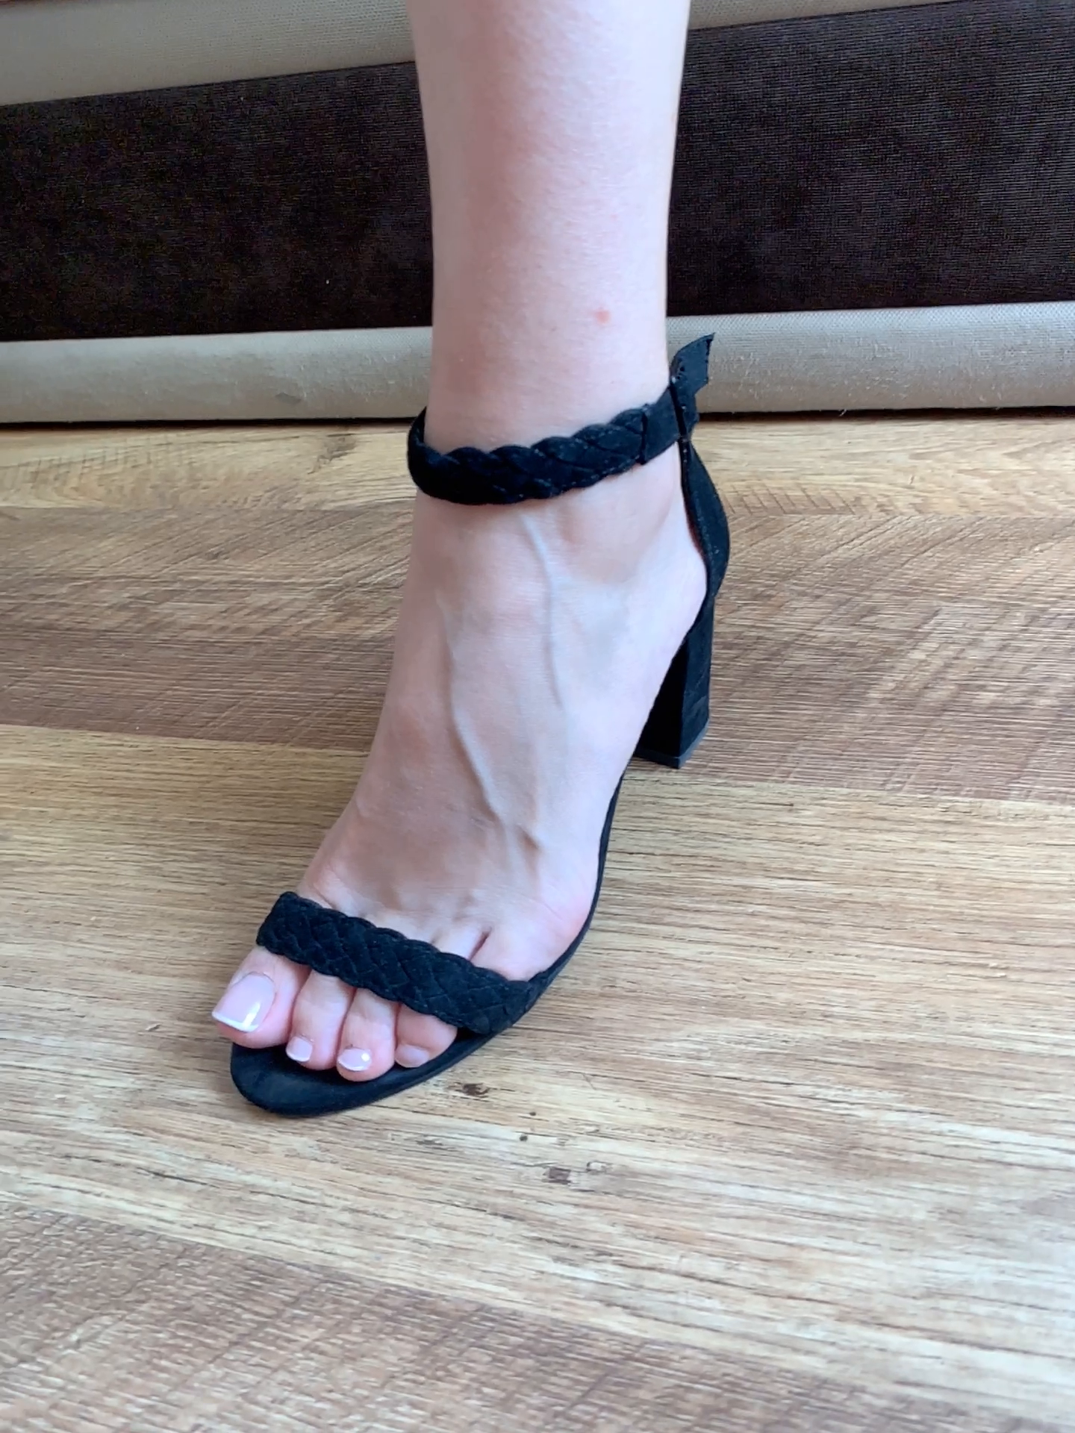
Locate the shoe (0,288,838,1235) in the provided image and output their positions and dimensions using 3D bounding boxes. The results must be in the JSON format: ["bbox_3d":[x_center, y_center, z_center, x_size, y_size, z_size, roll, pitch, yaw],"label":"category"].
[{"bbox_3d":[-0.013,-0.005,0.321,0.090,0.149,0.230,23,49,34],"label":"shoe"}]
